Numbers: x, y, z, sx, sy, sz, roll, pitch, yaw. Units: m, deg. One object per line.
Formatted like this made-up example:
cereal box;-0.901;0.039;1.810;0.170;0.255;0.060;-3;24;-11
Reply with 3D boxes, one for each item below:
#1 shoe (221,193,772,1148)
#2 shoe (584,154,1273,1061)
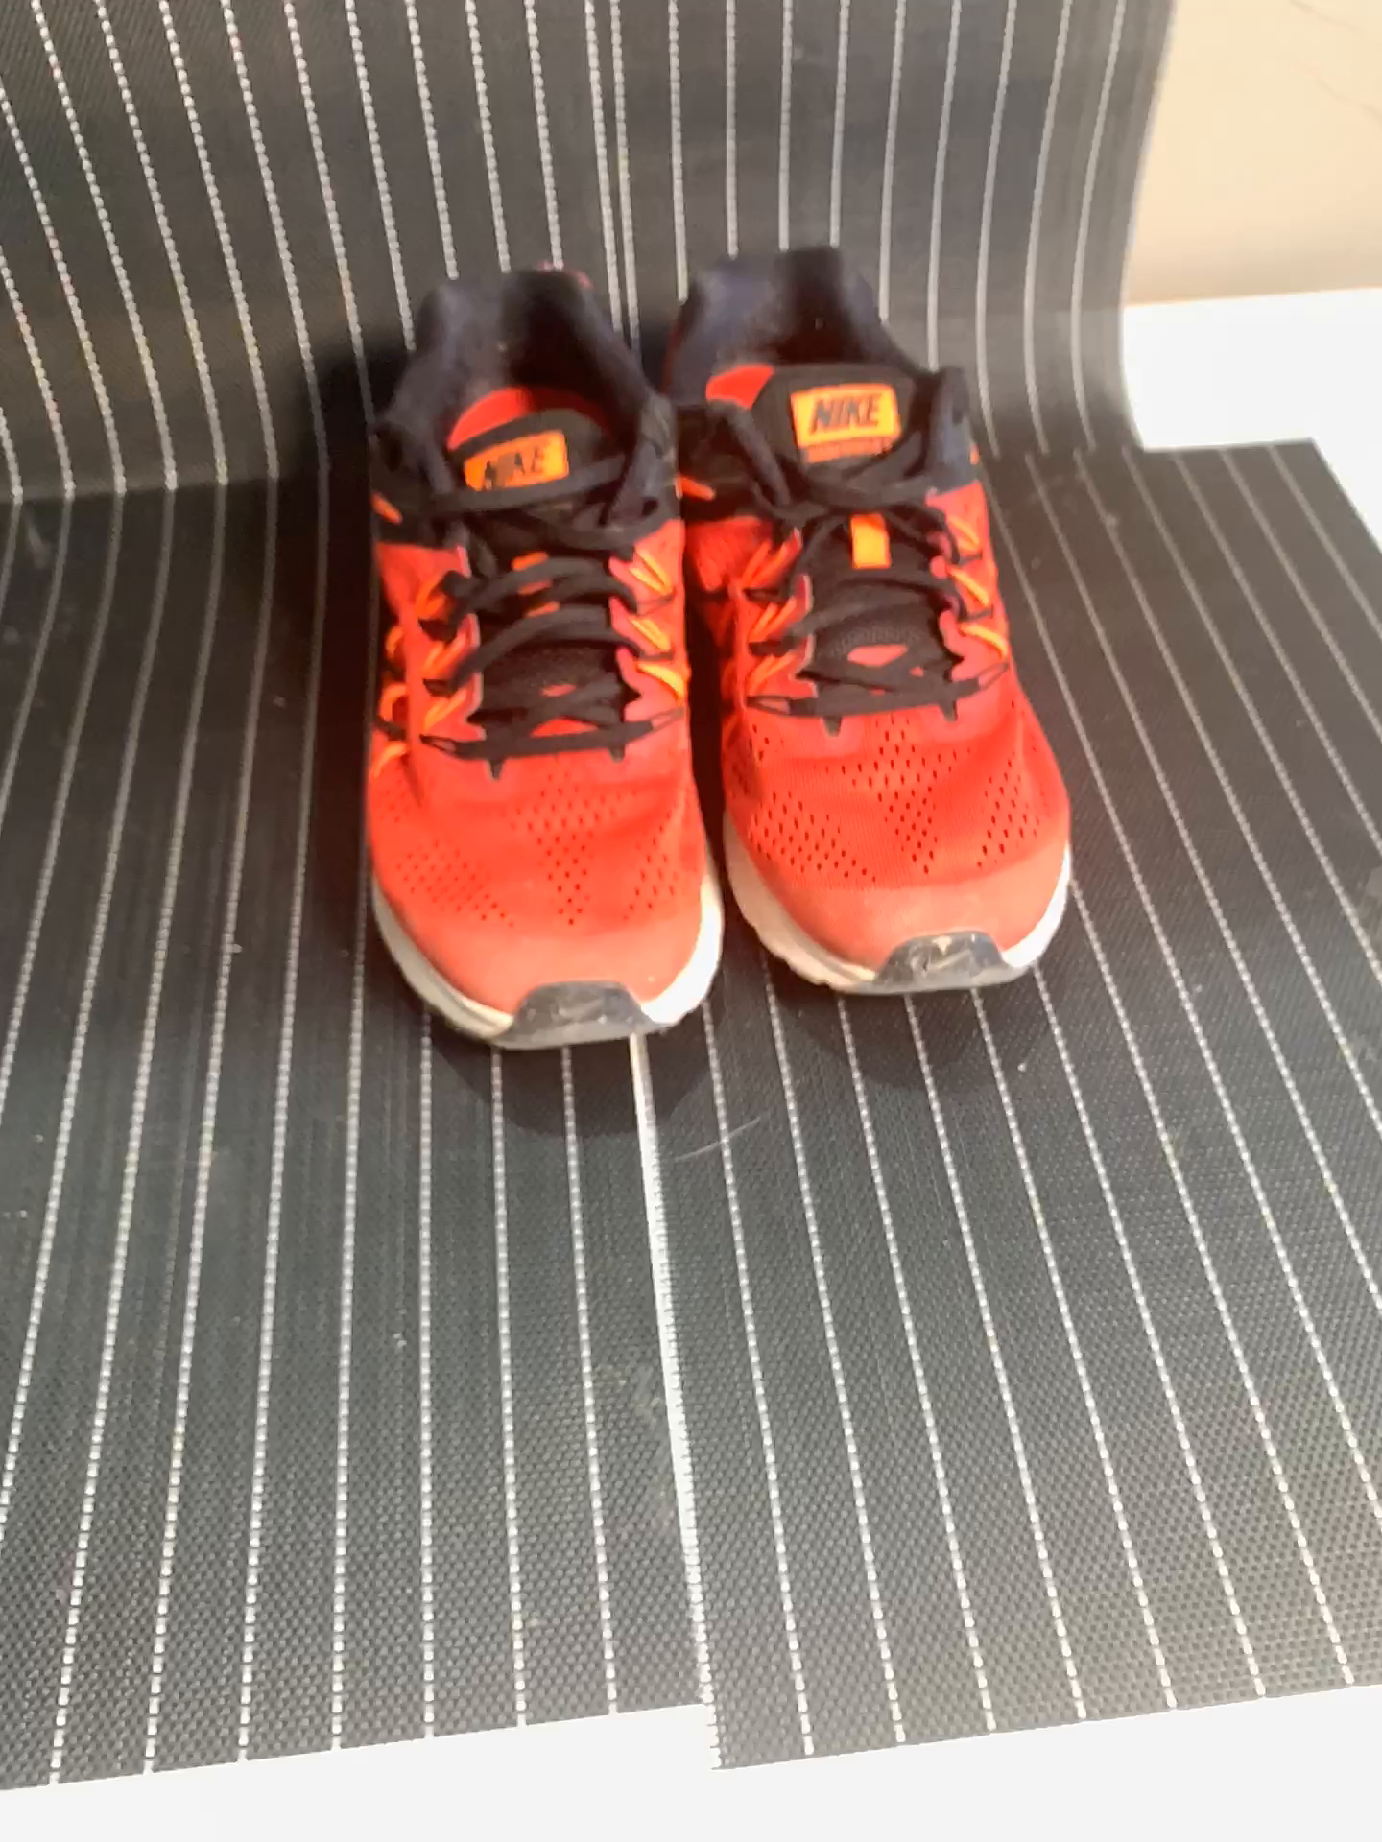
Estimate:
shoe;-0.058;-0.095;0.450;0.120;0.110;0.301;-5;53;-4
shoe;0.047;-0.109;0.439;0.120;0.110;0.271;-8;53;-6
